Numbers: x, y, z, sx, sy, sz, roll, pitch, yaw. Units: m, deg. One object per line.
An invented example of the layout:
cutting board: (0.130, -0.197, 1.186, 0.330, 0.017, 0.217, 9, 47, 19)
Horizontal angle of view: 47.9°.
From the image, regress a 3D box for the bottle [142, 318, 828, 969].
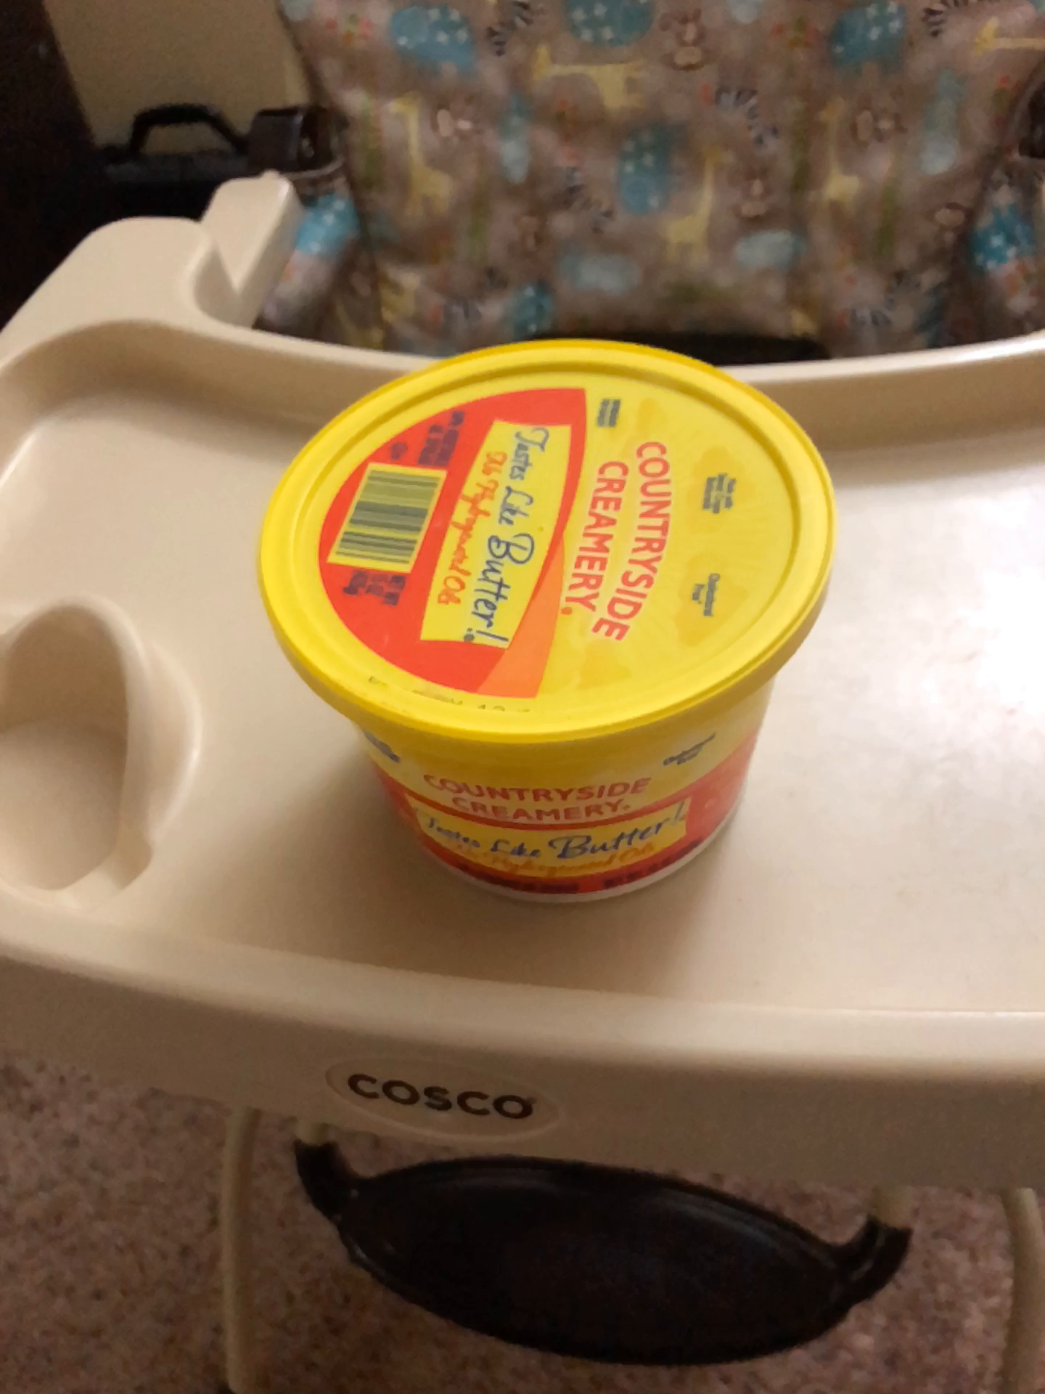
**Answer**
bottle: (0.003, -0.016, 0.277, 0.120, 0.090, 0.110, -3, 51, 4)
